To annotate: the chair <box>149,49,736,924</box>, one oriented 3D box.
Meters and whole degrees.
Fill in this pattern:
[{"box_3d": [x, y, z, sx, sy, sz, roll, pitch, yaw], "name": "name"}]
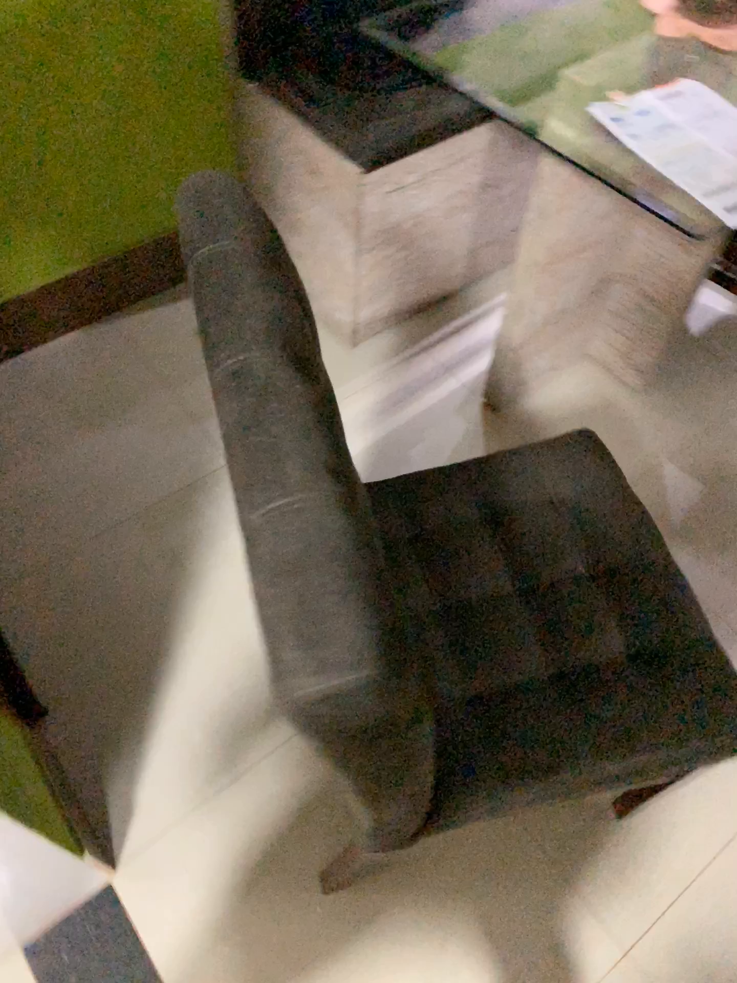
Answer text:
[{"box_3d": [0.145, 0.114, 0.939, 0.570, 0.974, 0.543, -12, 57, -10], "name": "chair"}]
